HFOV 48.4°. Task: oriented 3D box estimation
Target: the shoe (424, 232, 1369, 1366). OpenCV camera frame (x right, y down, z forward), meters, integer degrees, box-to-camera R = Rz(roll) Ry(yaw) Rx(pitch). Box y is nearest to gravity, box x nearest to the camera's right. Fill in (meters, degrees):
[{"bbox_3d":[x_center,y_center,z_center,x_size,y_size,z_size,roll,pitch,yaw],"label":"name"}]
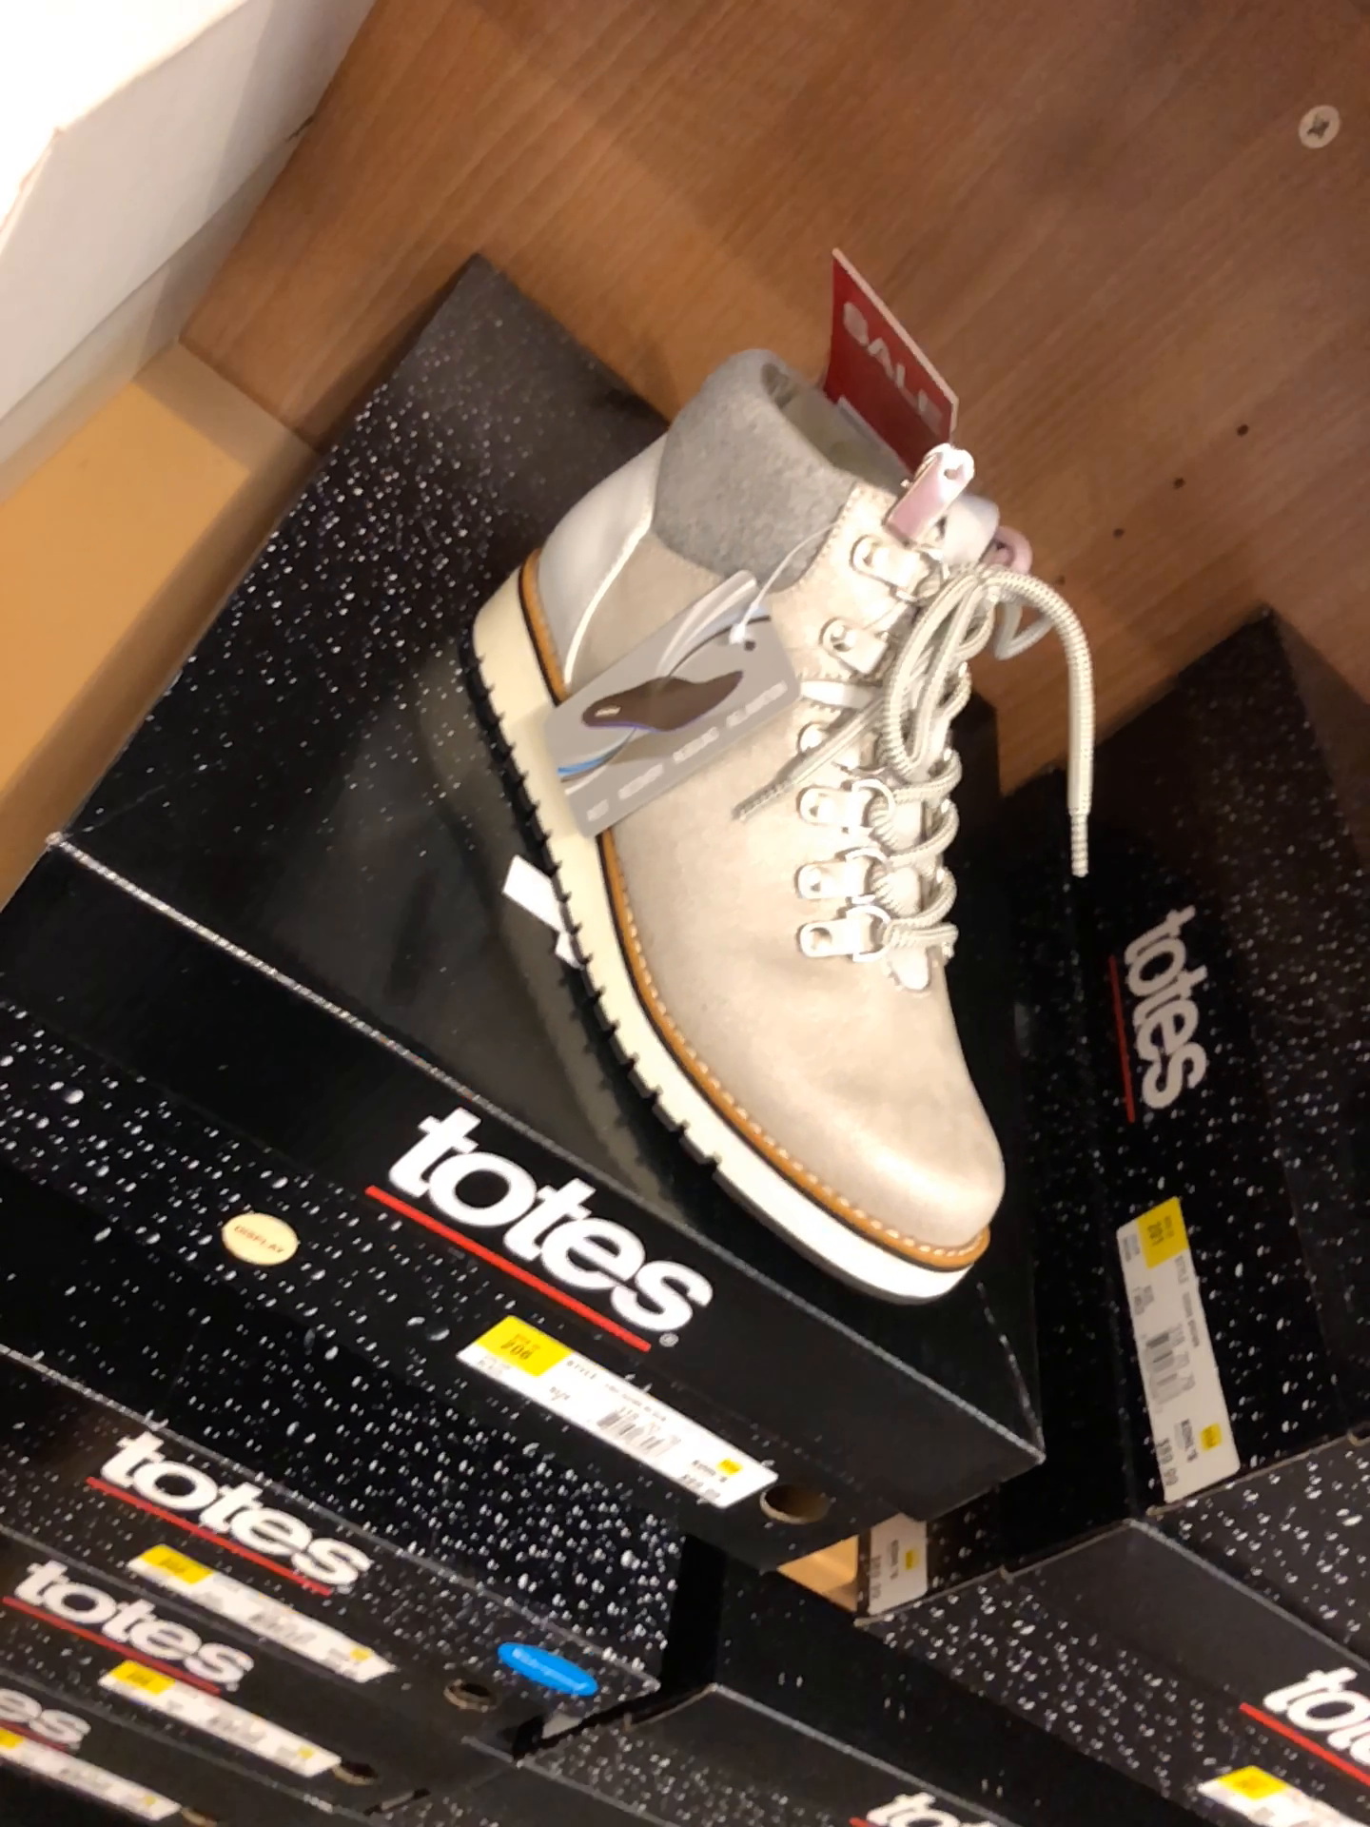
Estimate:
[{"bbox_3d":[0.047,-0.028,0.393,0.100,0.133,0.228,0,58,-49],"label":"shoe"}]
